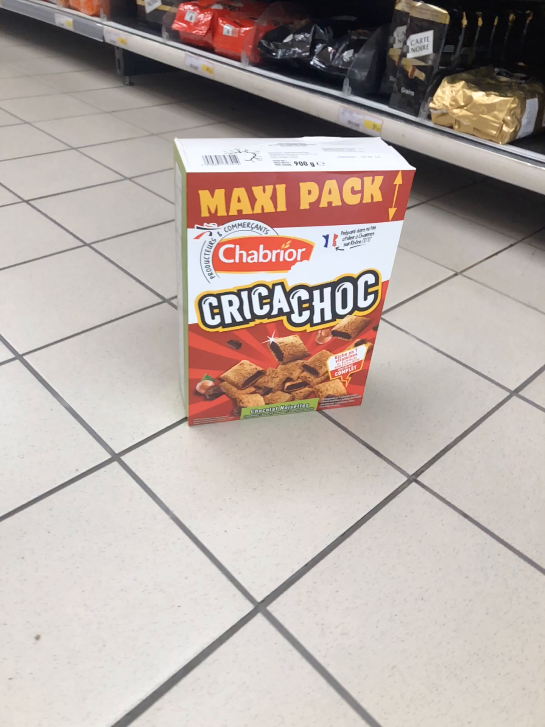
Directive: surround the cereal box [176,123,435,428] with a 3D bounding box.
[{"bbox_3d":[0.016,-0.076,0.570,0.200,0.268,0.080,-5,37,-13],"label":"cereal box"}]
